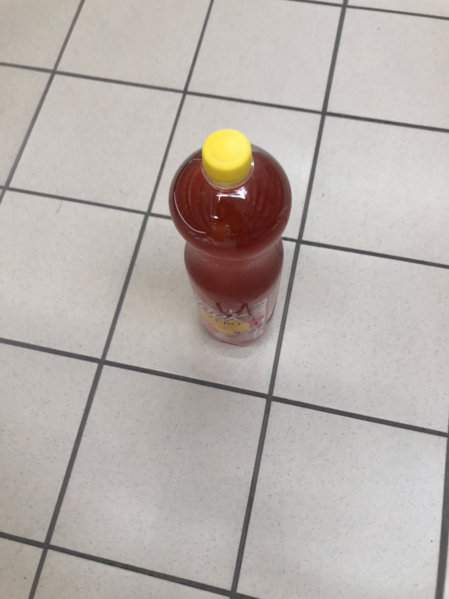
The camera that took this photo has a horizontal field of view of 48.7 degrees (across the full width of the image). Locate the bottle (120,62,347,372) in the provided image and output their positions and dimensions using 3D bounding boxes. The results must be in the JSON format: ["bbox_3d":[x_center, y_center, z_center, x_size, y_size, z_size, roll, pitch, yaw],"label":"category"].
[{"bbox_3d":[0.013,-0.032,0.438,0.100,0.329,0.090,25,73,11],"label":"bottle"}]
